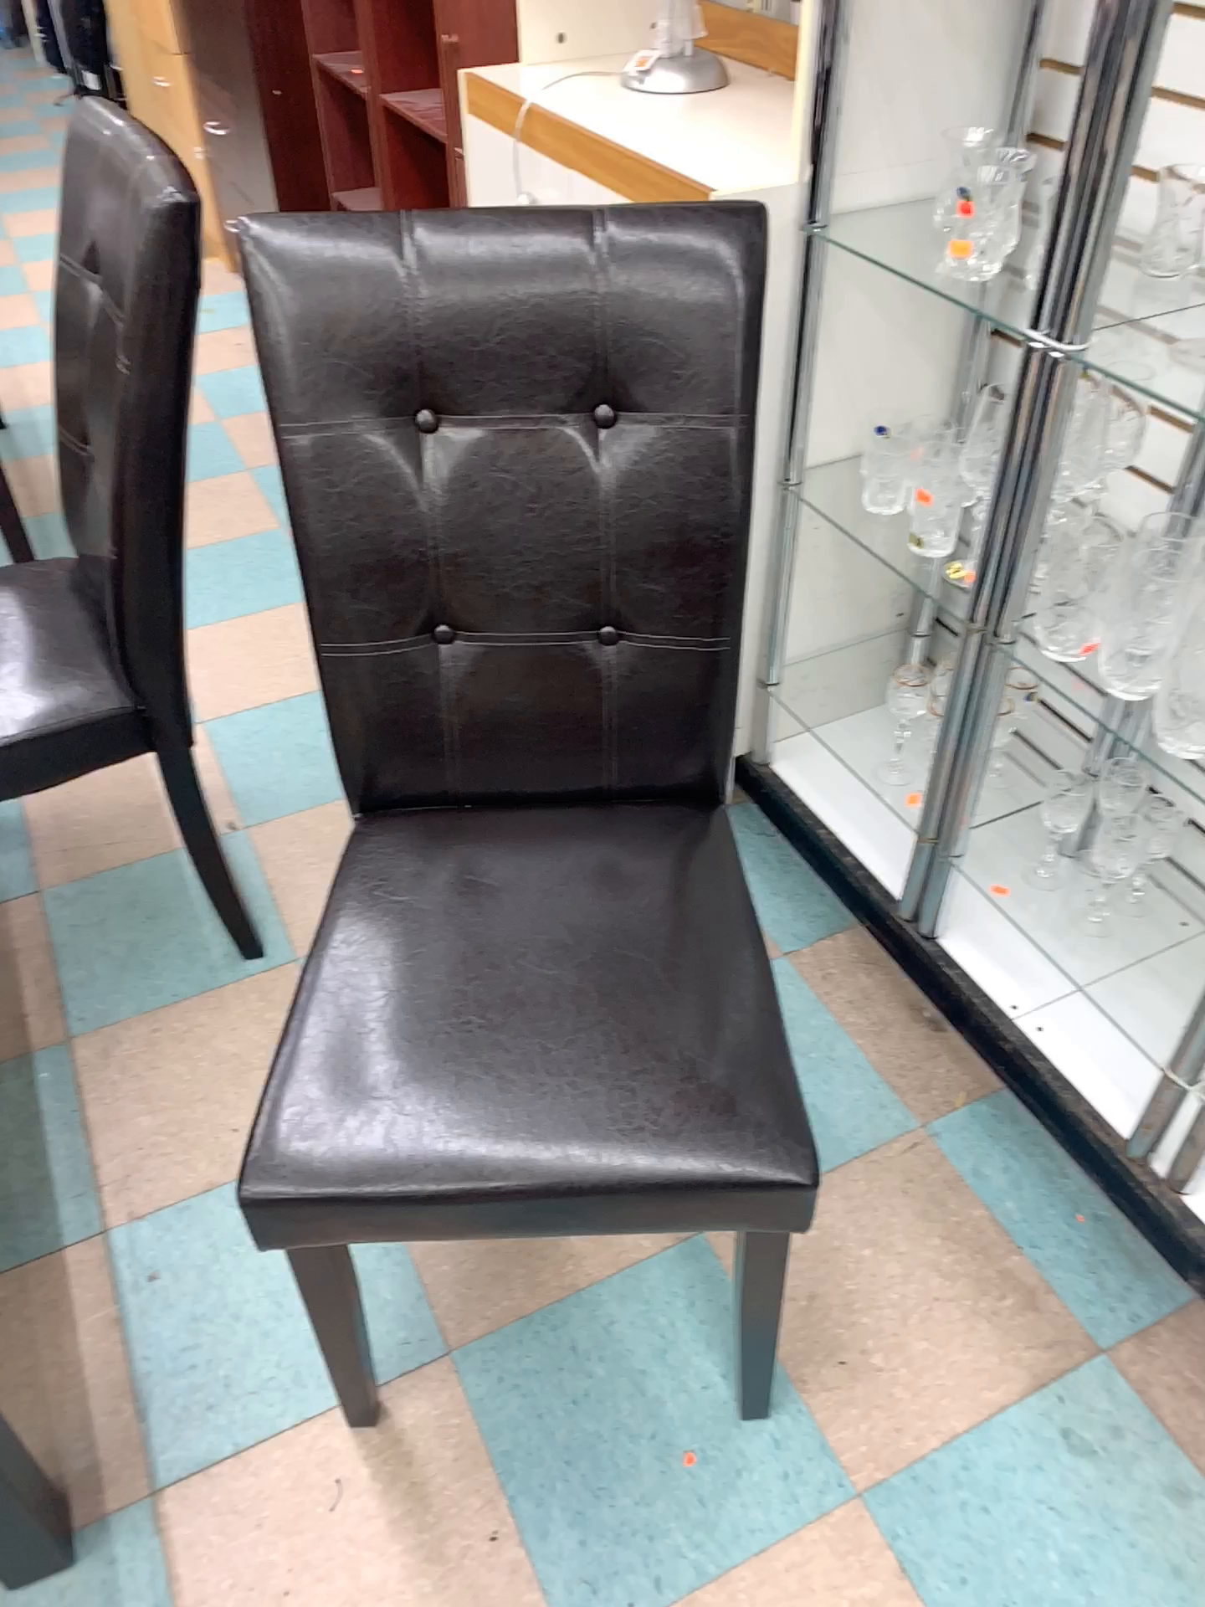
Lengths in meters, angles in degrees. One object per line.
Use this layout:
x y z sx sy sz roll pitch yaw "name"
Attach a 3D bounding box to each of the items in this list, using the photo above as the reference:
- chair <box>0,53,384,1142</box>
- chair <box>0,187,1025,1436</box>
-0.758 -0.259 1.470 0.651 0.955 0.673 -21 45 -21 "chair"
-0.038 0.059 1.077 0.470 0.955 0.573 -1 41 1 "chair"
